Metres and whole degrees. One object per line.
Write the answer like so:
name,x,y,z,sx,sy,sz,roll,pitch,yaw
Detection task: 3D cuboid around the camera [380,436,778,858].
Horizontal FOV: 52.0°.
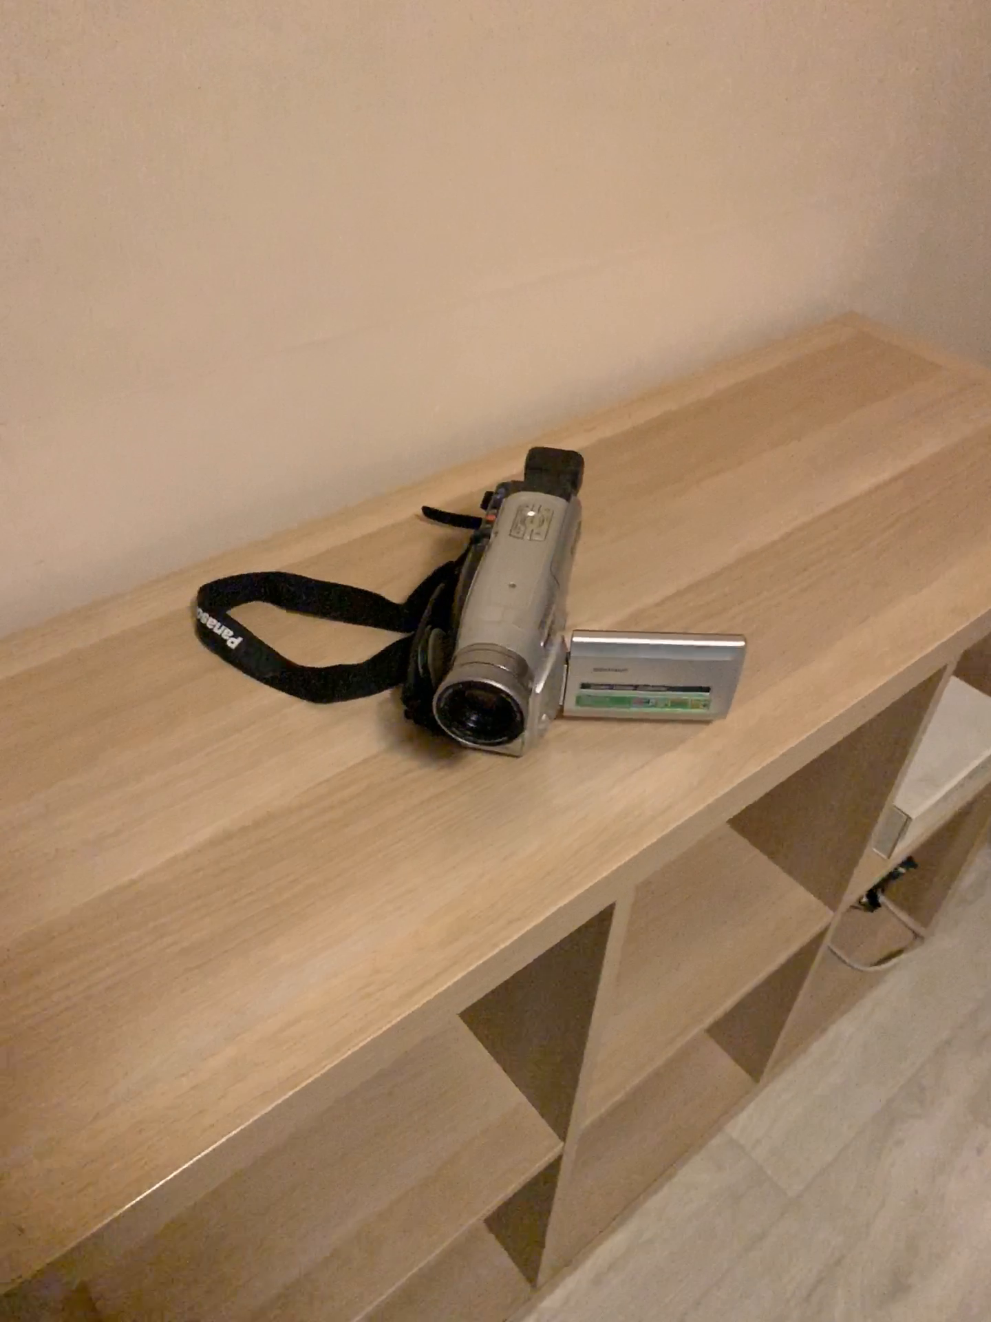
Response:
camera,0.061,-0.024,0.640,0.202,0.109,0.248,8,41,7
